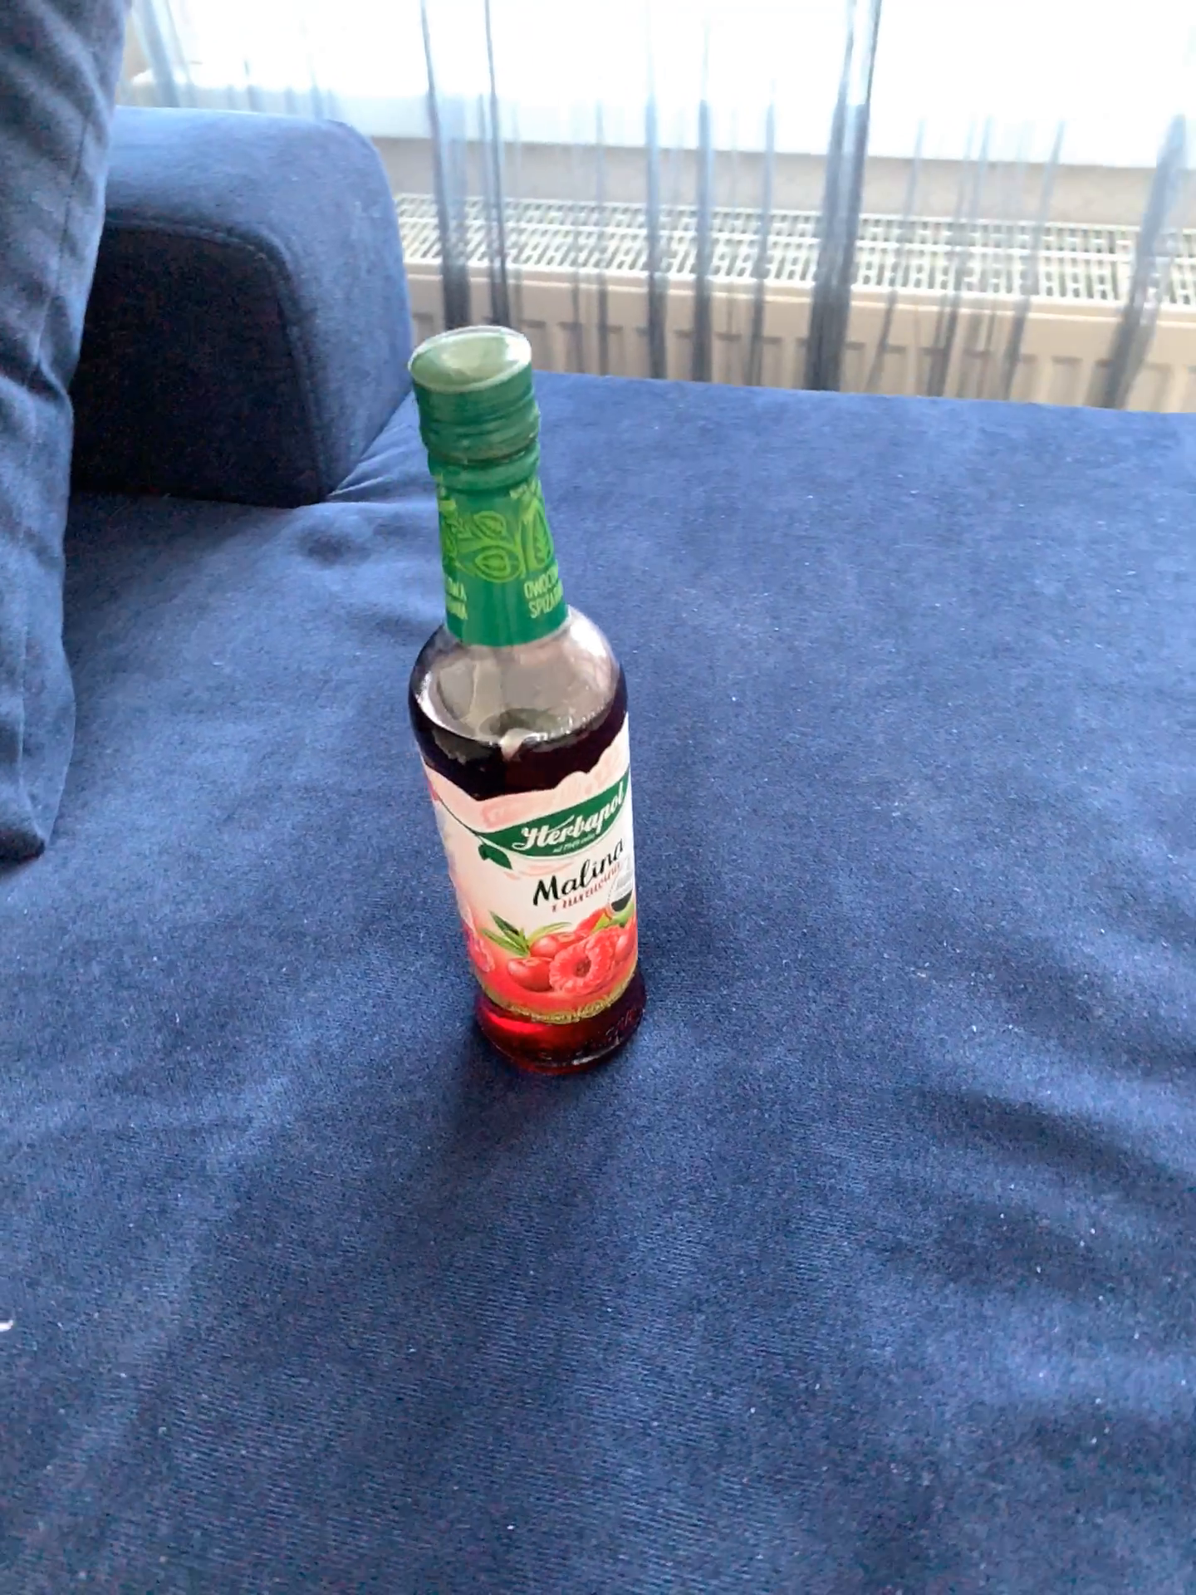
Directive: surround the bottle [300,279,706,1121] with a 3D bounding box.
[{"bbox_3d":[-0.019,-0.010,0.368,0.070,0.249,0.070,-1,45,1],"label":"bottle"}]
